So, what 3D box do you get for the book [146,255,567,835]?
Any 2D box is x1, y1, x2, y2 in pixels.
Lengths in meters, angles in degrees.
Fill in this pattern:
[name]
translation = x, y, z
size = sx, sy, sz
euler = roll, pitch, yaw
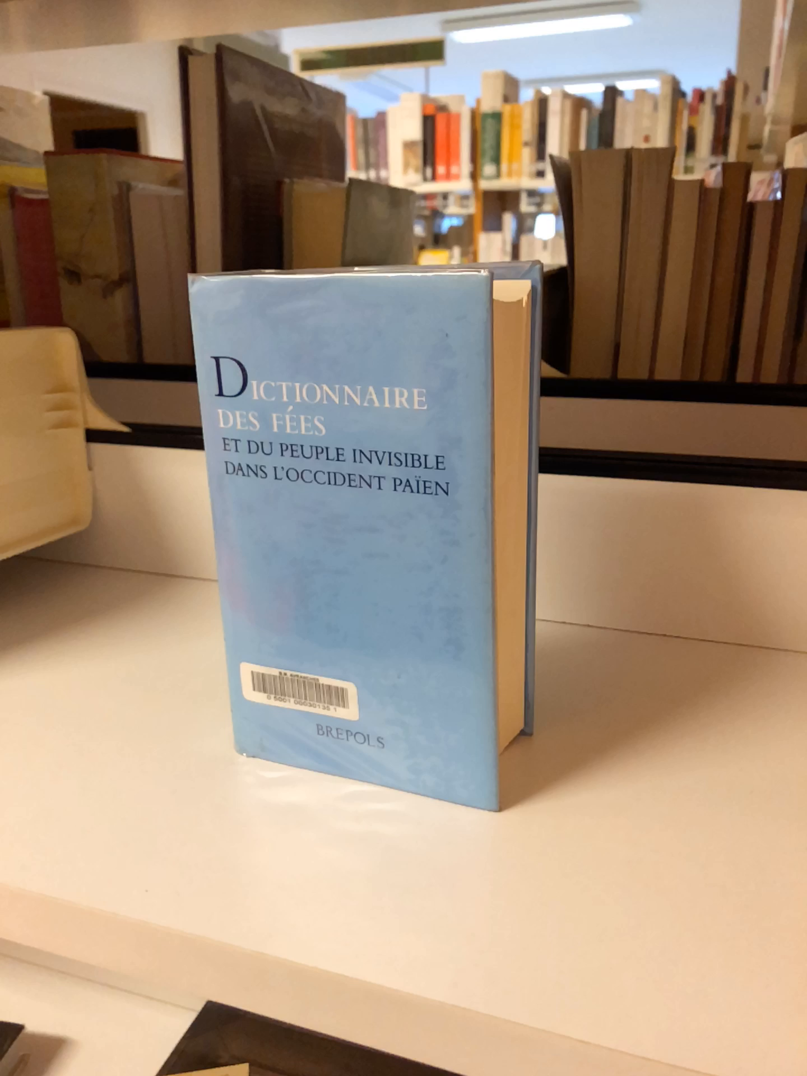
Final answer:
[book]
translation = -0.011, -0.002, 0.325
size = 0.125, 0.186, 0.060
euler = 6, 21, 22
